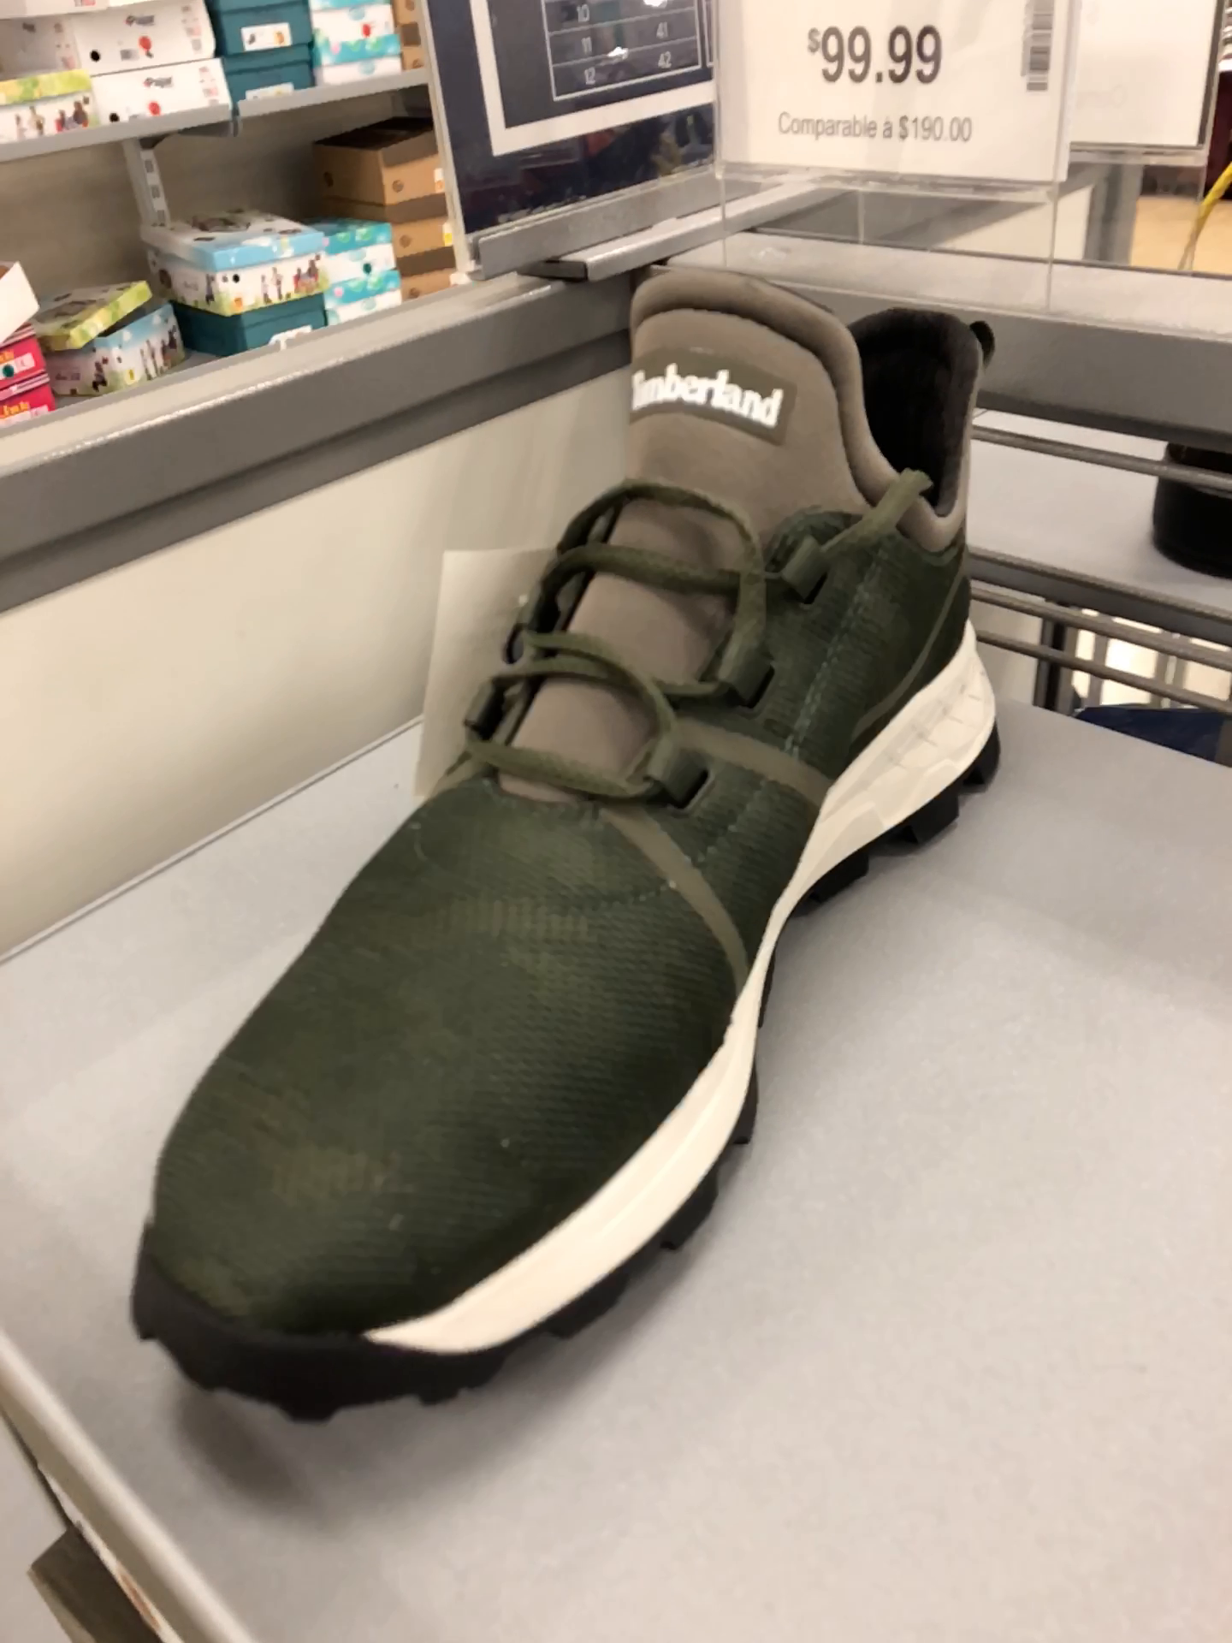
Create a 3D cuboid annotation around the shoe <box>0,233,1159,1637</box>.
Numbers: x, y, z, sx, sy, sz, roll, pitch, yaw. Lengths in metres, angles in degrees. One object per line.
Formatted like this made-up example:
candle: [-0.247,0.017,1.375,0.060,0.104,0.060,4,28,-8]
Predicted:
shoe: [0.004,-0.023,0.316,0.130,0.149,0.312,18,40,30]
